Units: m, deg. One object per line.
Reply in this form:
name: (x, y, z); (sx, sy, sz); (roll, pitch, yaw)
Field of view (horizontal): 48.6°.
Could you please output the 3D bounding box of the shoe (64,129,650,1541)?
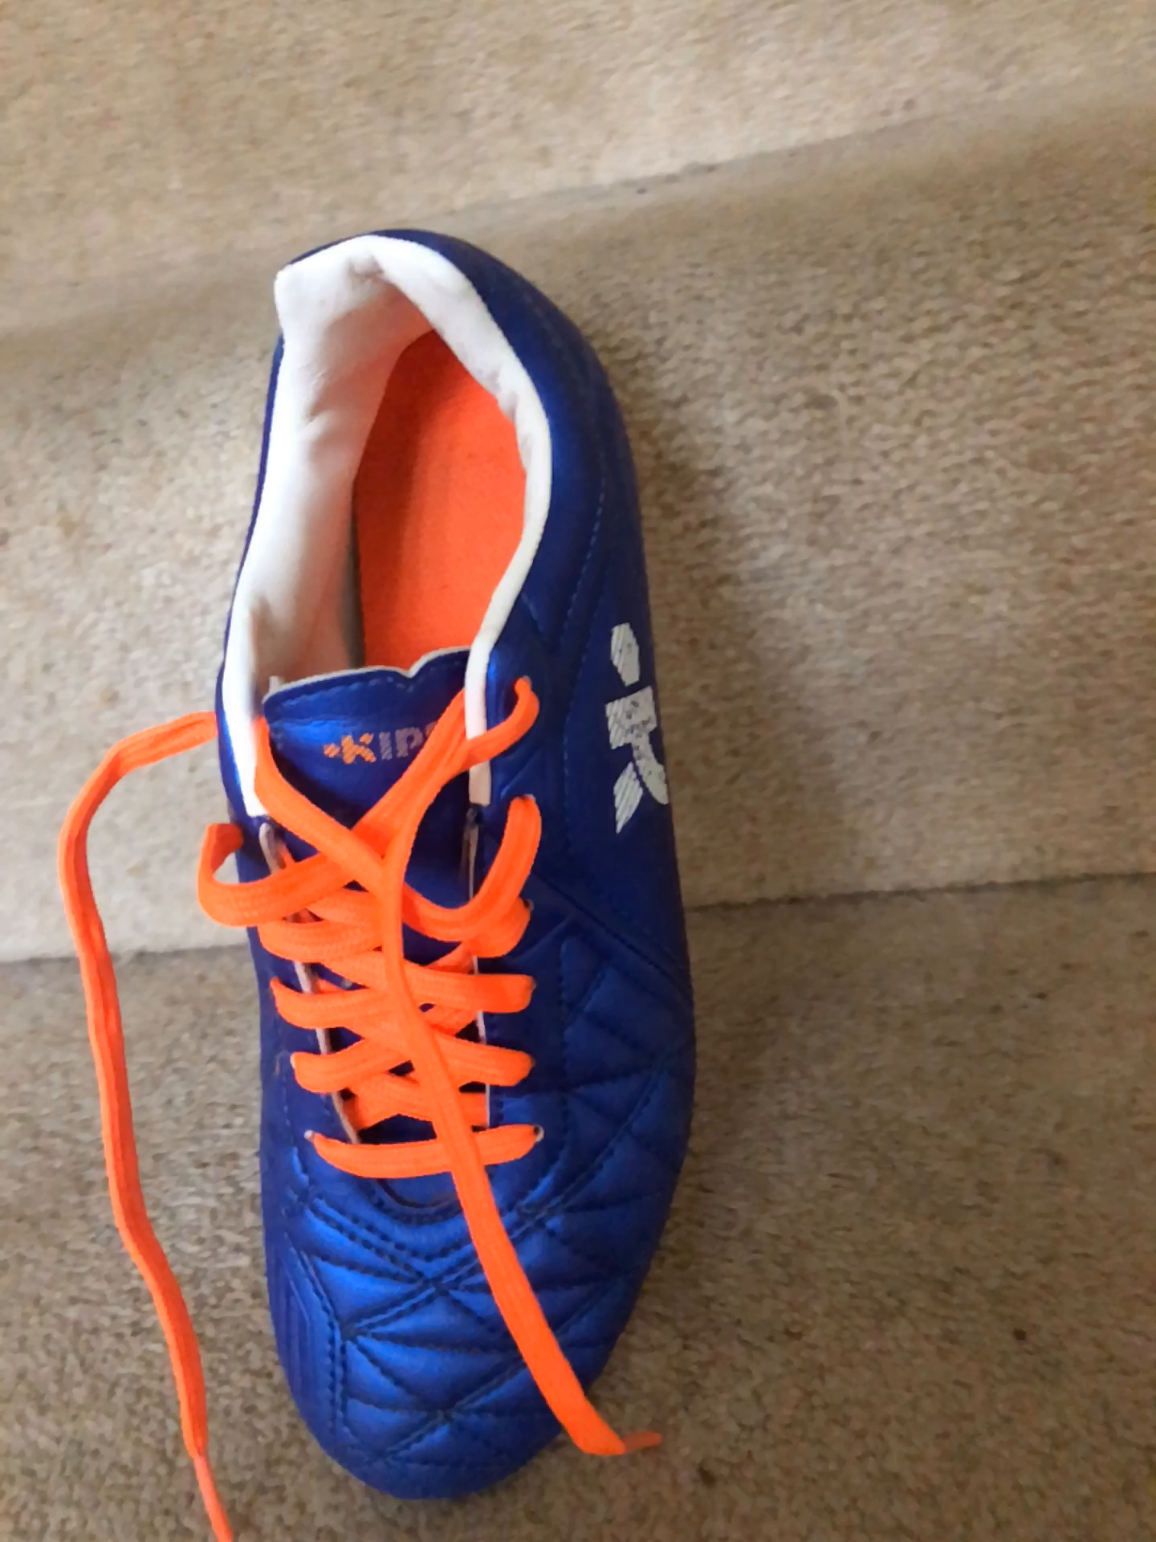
shoe: (-0.029, 0.011, 0.241); (0.070, 0.210, 0.100); (-1, -8, 12)
